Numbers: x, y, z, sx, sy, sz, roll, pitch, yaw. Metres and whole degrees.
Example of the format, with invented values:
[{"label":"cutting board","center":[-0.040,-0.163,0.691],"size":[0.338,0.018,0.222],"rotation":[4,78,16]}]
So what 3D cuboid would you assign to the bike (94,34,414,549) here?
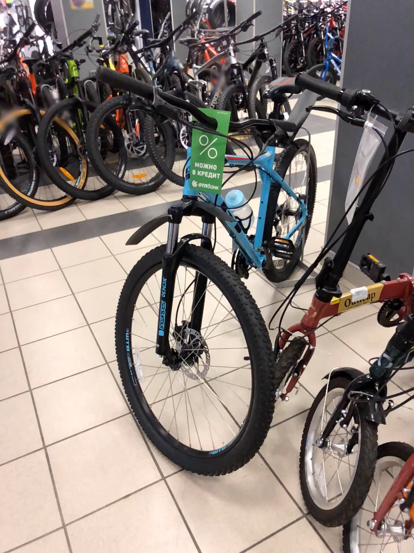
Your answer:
[{"label":"bike","center":[0.319,-0.227,1.719],"size":[0.692,1.084,1.619],"rotation":[6,32,15]}]
